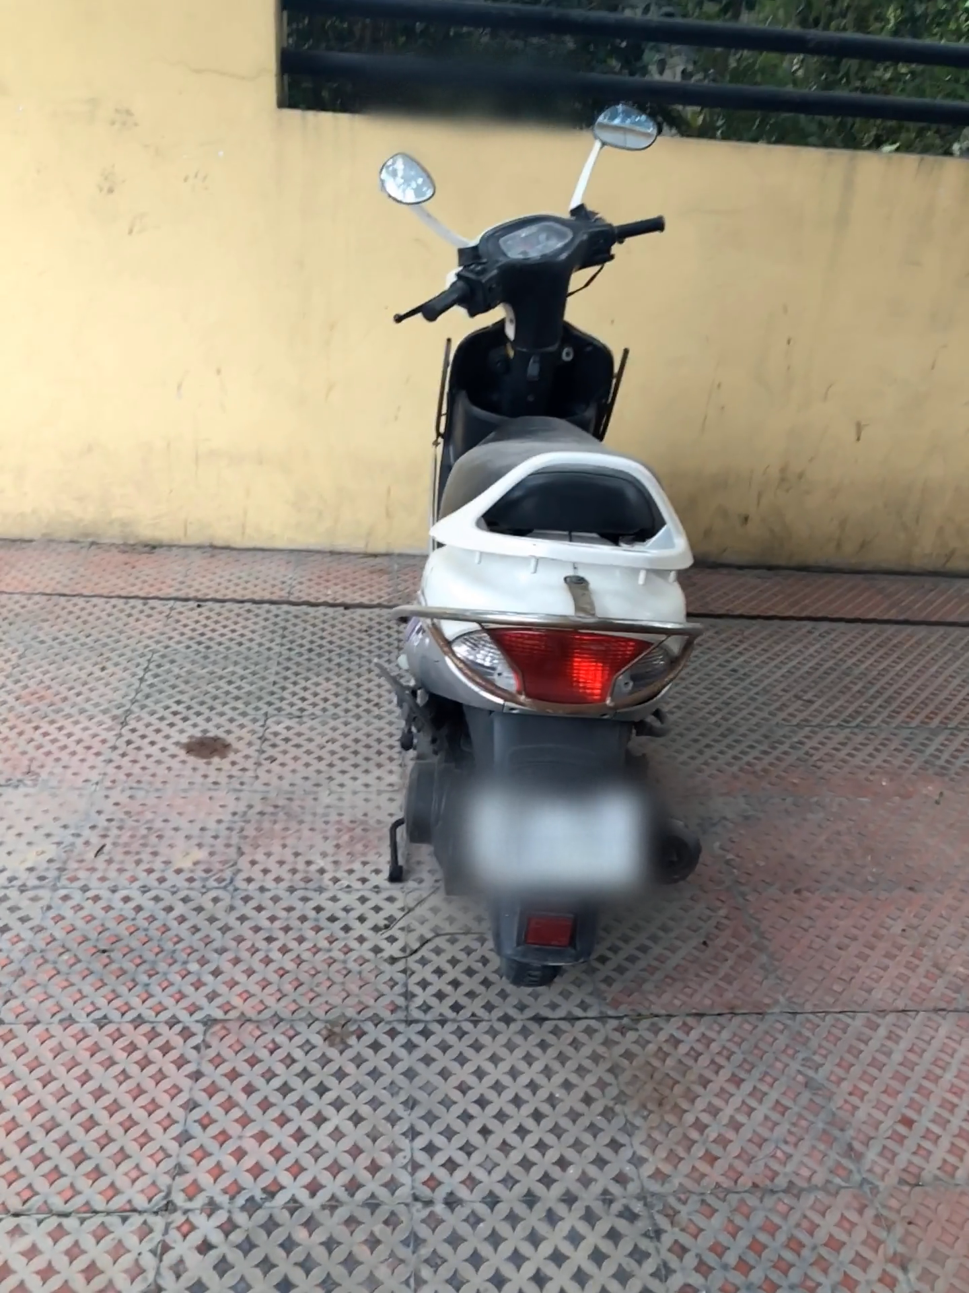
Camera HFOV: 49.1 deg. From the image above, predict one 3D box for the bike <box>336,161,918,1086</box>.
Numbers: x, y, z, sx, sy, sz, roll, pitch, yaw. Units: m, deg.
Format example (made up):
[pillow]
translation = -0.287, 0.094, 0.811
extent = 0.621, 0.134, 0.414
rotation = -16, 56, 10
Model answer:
[bike]
translation = 0.073, -0.210, 1.967
extent = 0.599, 1.081, 1.481
rotation = 2, 28, -5
